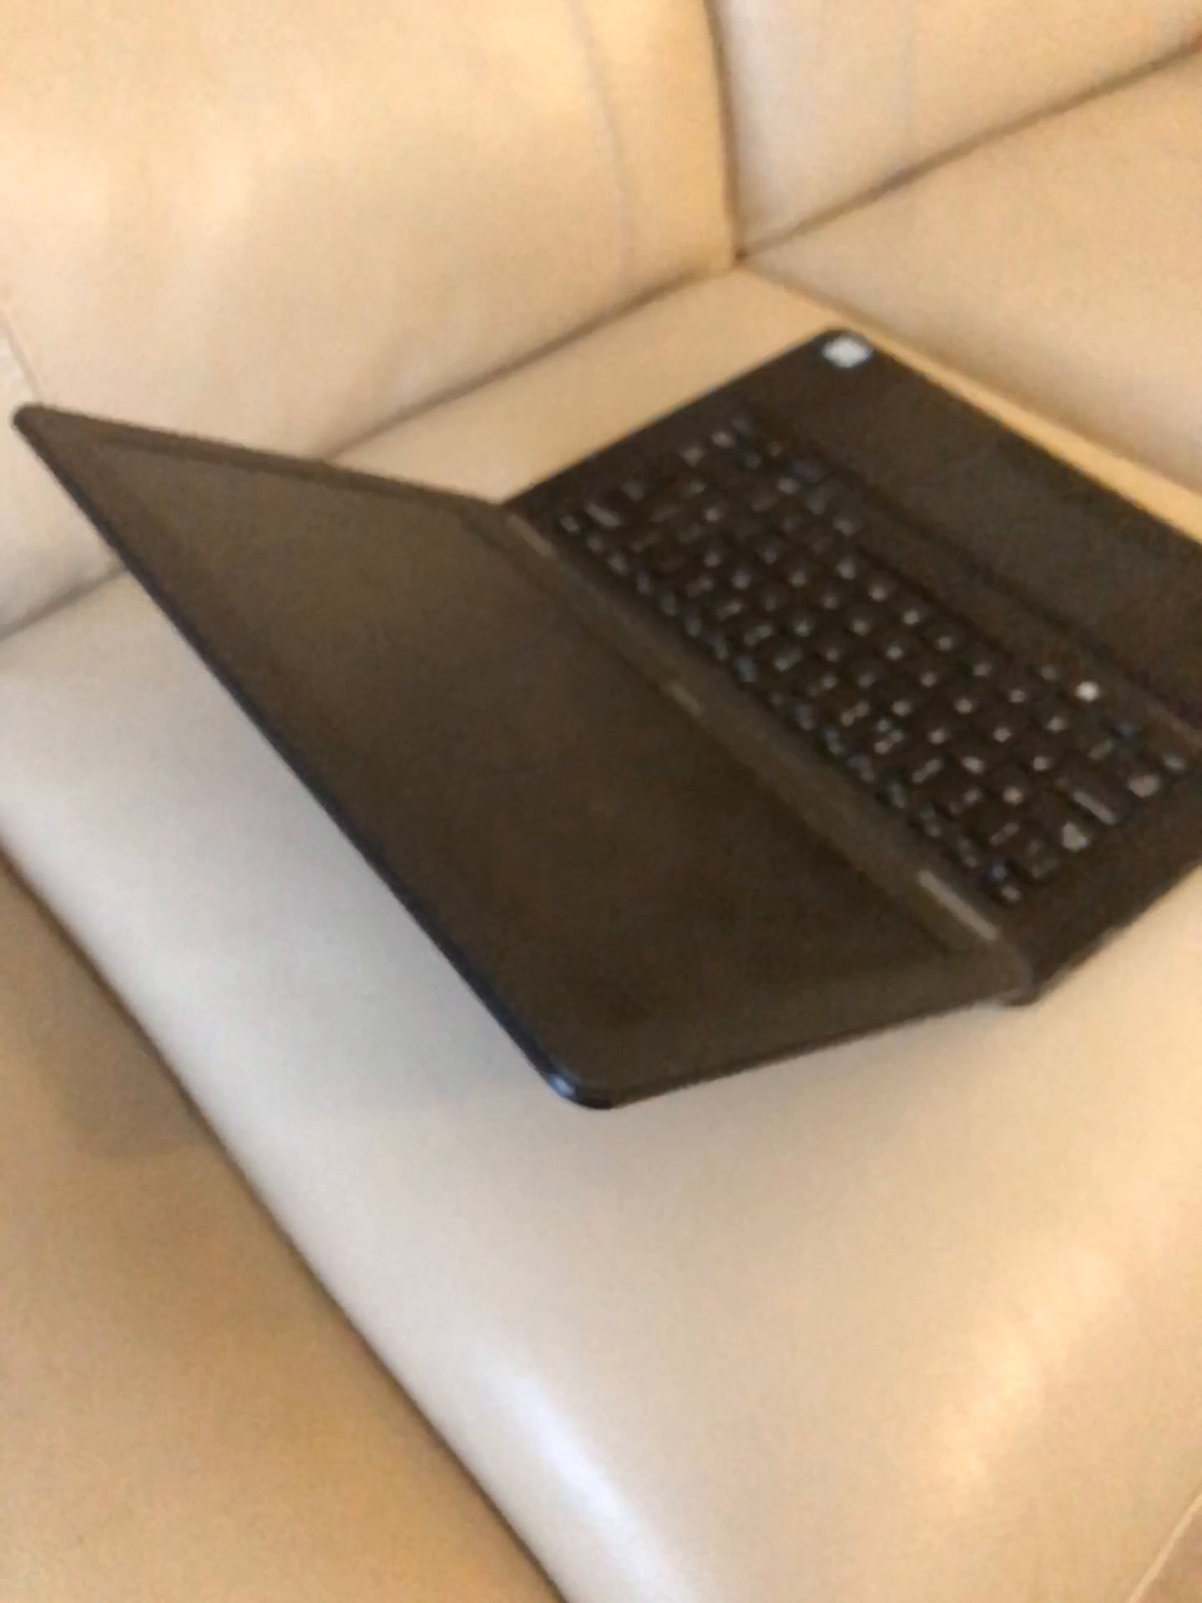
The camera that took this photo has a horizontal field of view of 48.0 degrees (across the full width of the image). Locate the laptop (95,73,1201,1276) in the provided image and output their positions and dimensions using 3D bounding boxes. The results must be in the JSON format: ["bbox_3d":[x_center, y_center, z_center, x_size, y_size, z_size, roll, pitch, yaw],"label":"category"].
[{"bbox_3d":[0.066,-0.086,0.491,0.375,0.124,0.306,-33,57,-19],"label":"laptop"}]
